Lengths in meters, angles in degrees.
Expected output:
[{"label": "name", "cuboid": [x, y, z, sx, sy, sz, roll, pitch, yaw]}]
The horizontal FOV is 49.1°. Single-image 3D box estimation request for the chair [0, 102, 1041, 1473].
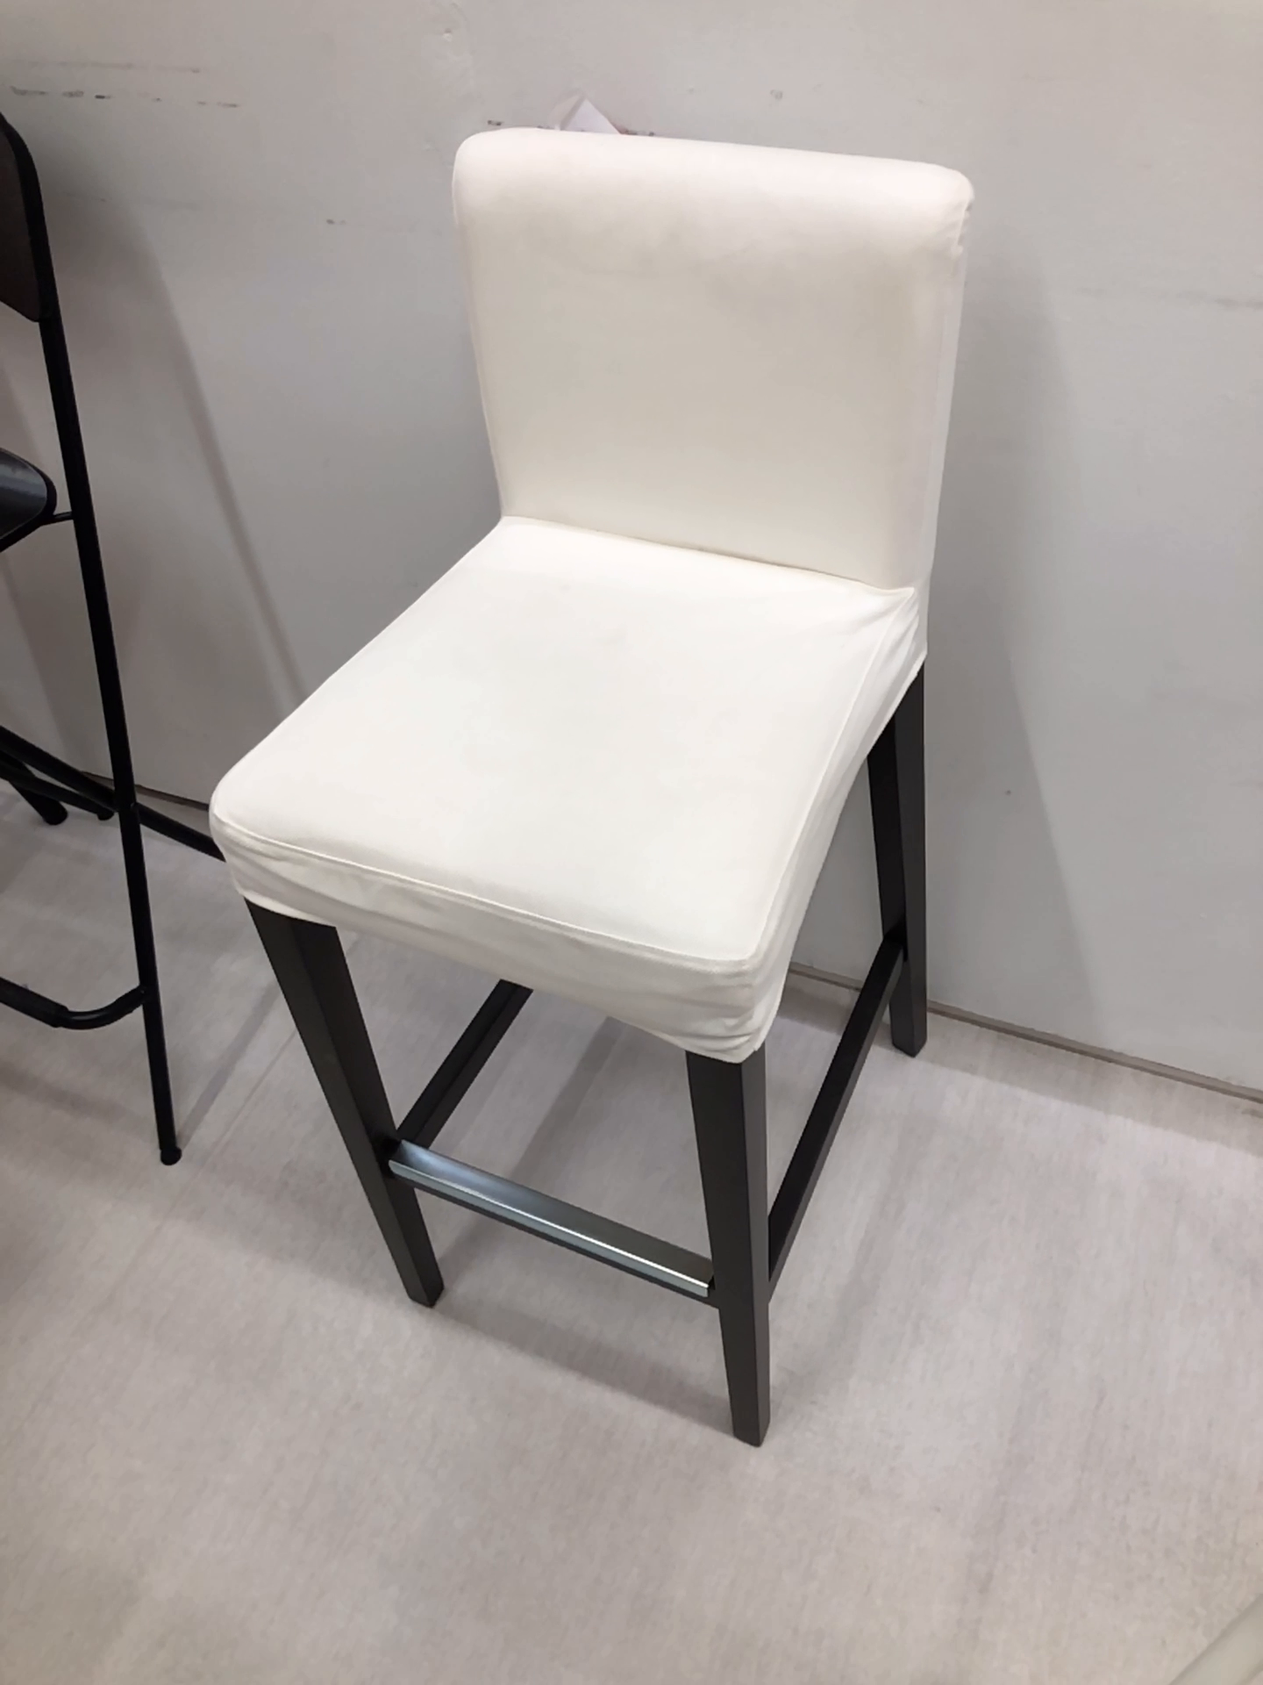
[{"label": "chair", "cuboid": [-0.016, -0.007, 1.074, 0.441, 0.855, 0.533, 15, 50, 20]}]
